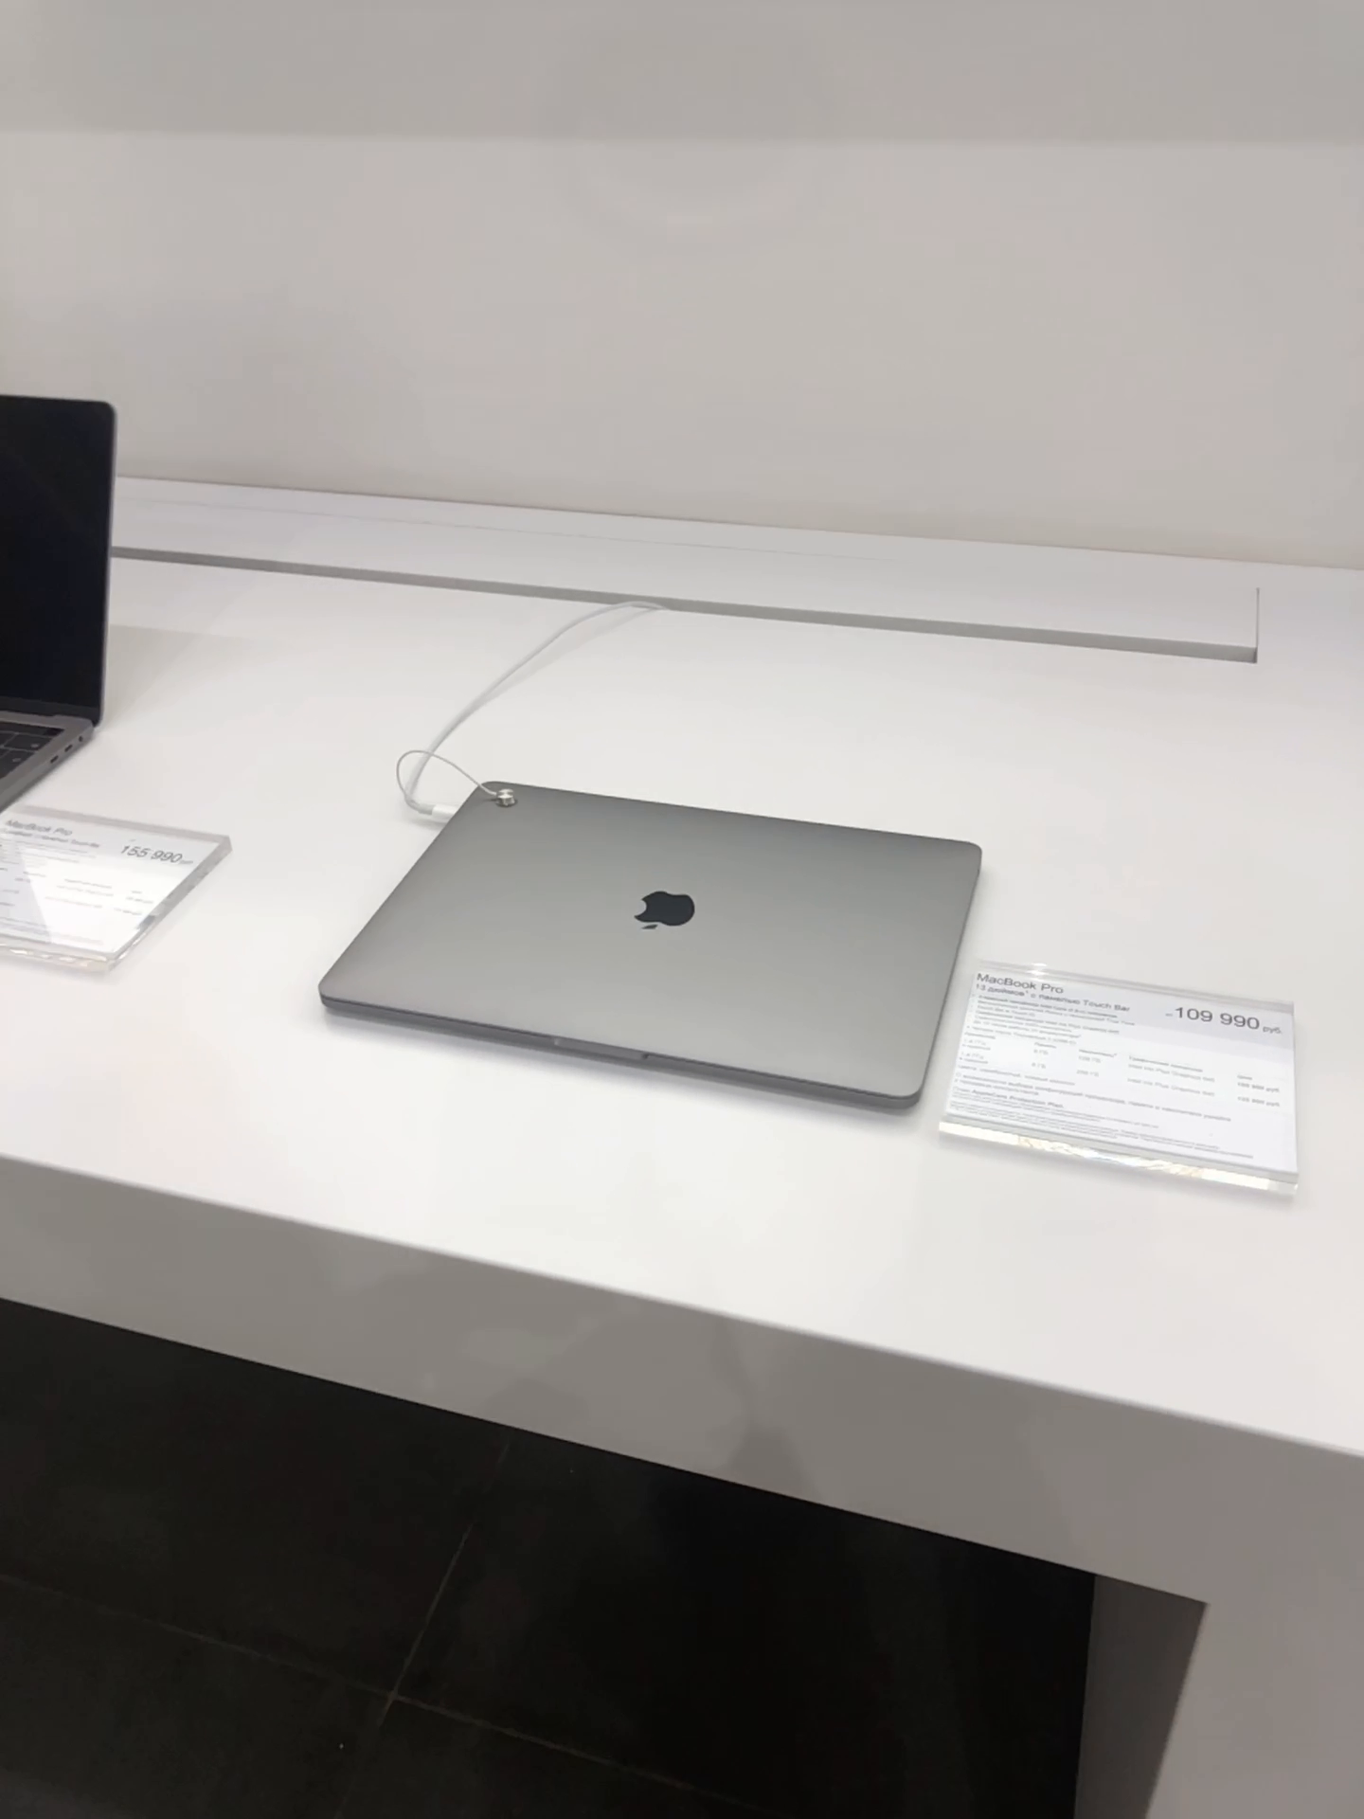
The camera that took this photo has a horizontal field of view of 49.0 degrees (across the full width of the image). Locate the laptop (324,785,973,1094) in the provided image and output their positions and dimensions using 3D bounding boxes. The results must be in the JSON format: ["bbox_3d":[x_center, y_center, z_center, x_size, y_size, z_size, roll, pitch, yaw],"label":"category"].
[{"bbox_3d":[-0.010,0.004,0.785,0.293,0.001,0.199,9,38,16],"label":"laptop"}]
